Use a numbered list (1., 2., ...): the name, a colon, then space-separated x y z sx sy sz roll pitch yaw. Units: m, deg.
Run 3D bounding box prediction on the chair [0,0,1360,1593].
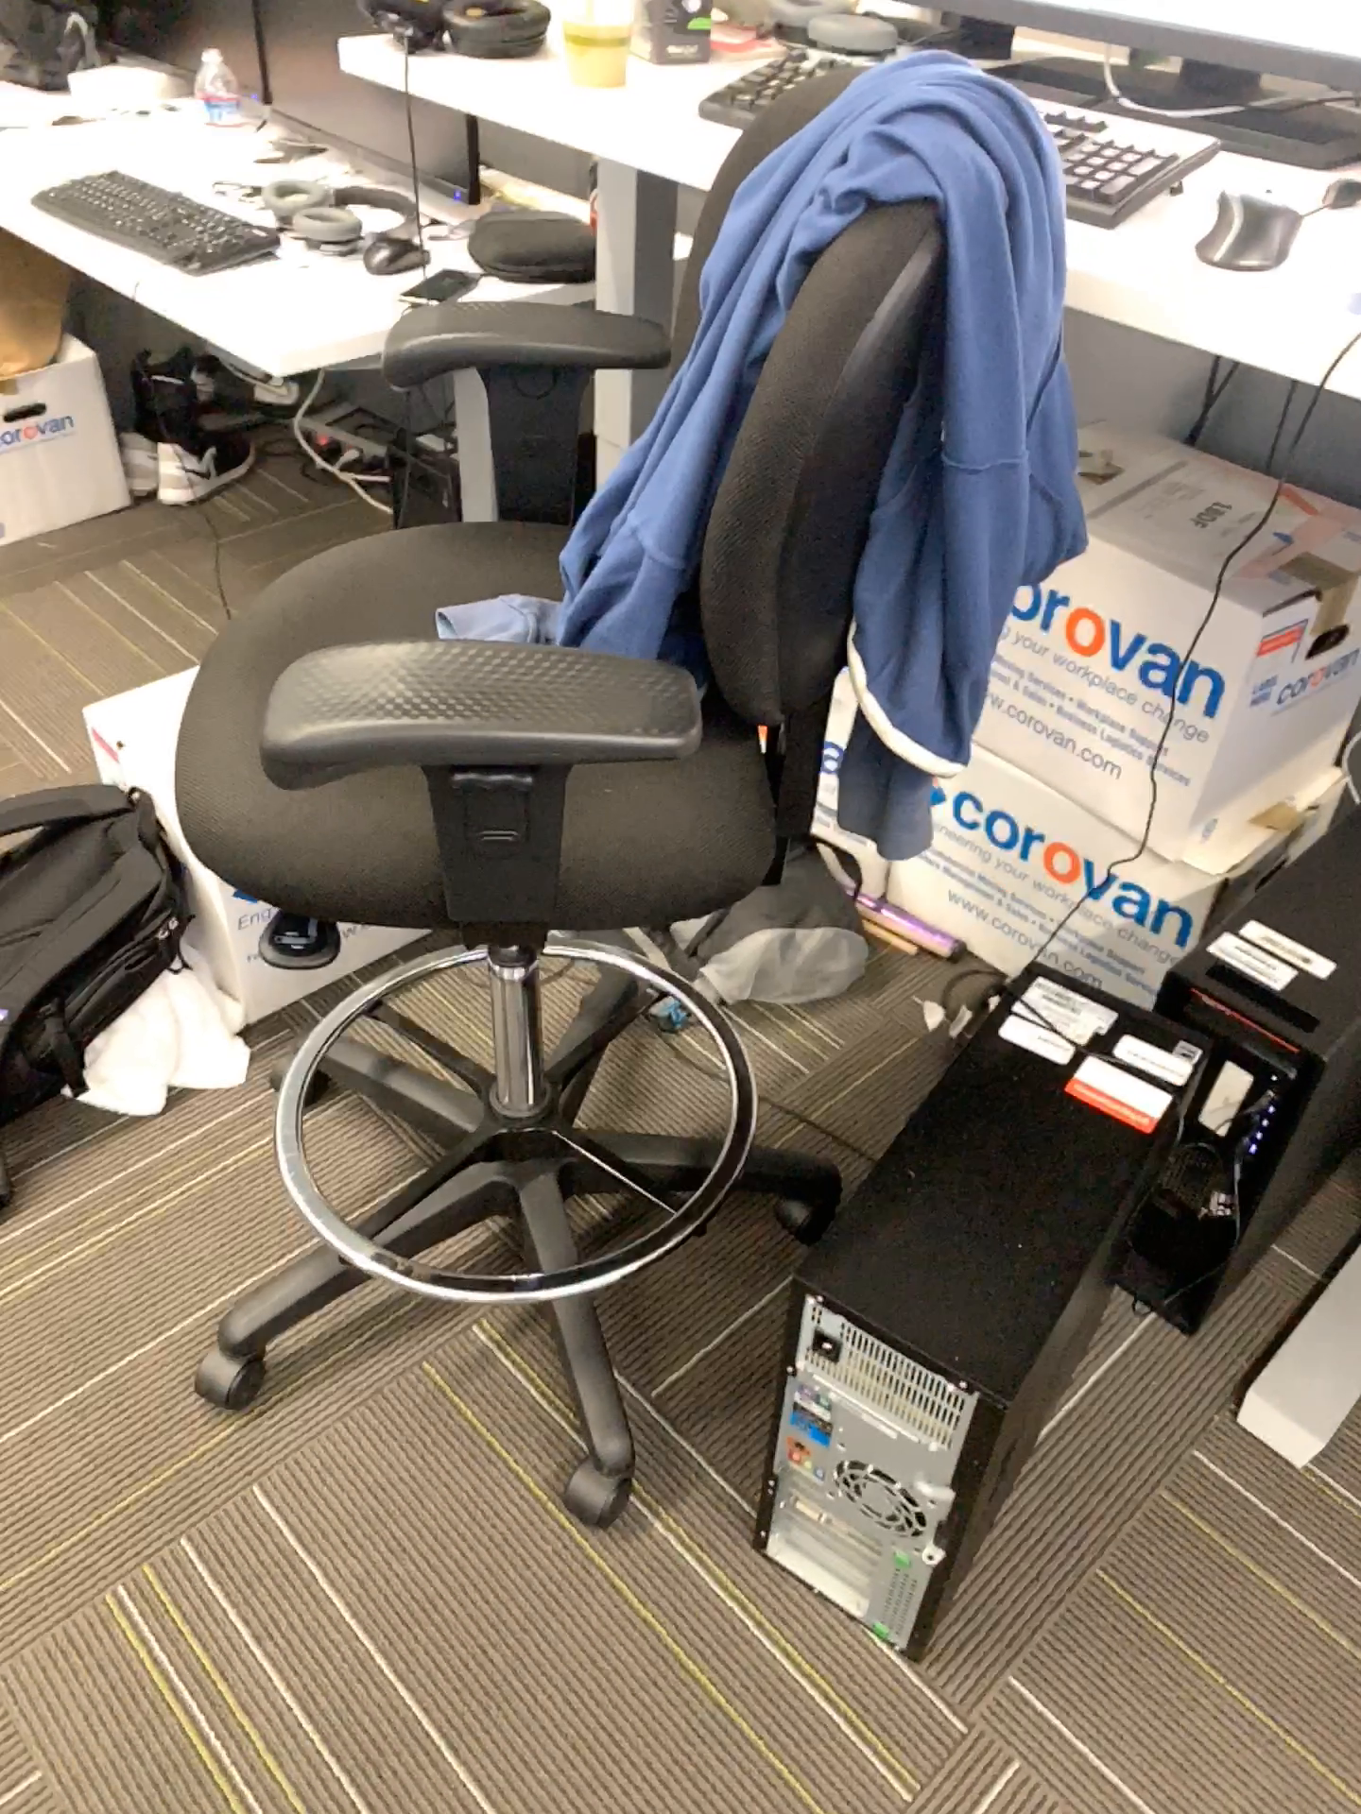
1. chair: -0.123 -0.092 1.189 0.740 1.103 0.755 -4 41 -9
